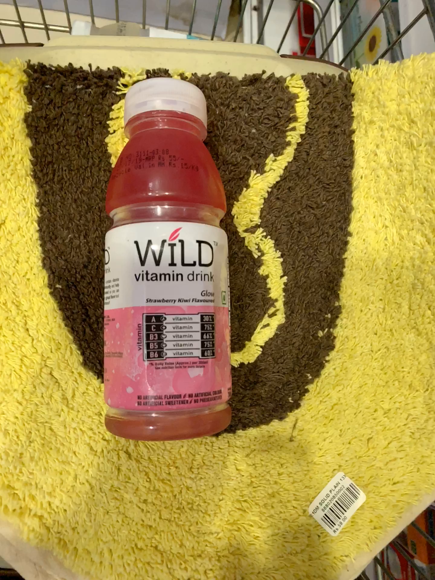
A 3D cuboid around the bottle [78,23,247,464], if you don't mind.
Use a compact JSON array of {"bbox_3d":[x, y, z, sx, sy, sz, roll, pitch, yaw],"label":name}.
[{"bbox_3d":[-0.023,-0.017,0.193,0.060,0.050,0.160,-1,93,-8],"label":"bottle"}]
